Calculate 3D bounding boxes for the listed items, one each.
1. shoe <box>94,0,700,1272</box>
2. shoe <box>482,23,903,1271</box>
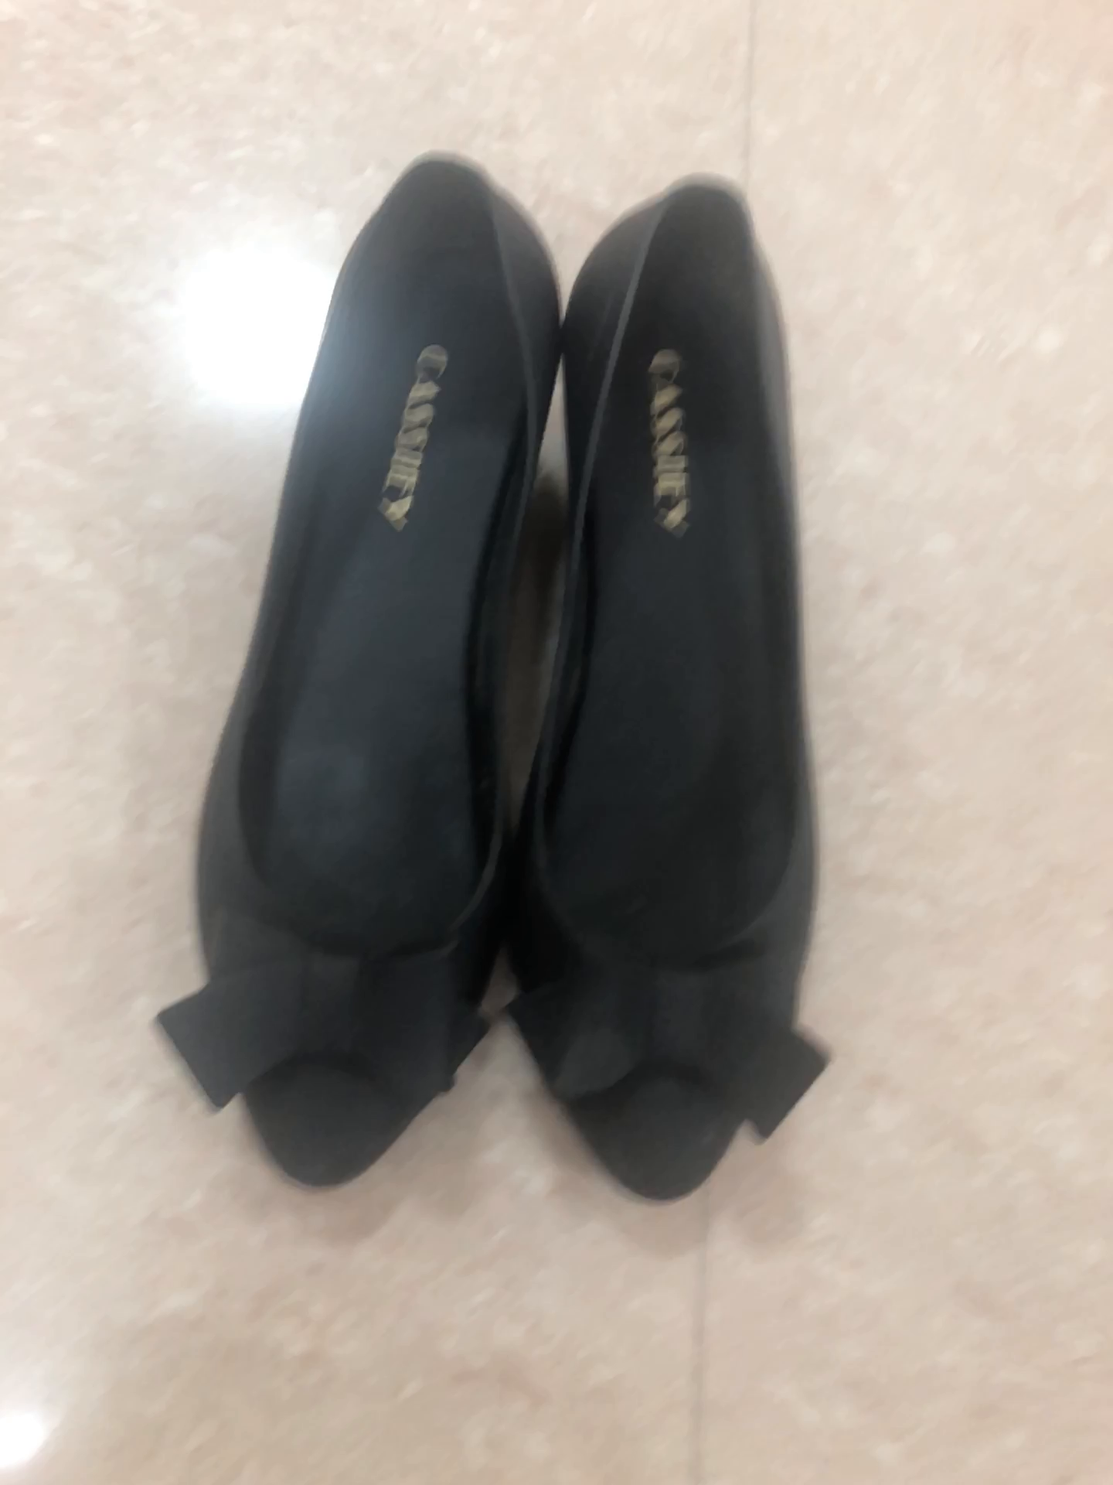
[{"bbox_3d":[-0.033,-0.036,0.337,0.090,0.090,0.310,9,79,-3],"label":"shoe"},{"bbox_3d":[0.036,-0.028,0.348,0.090,0.090,0.310,4,79,-4],"label":"shoe"}]
